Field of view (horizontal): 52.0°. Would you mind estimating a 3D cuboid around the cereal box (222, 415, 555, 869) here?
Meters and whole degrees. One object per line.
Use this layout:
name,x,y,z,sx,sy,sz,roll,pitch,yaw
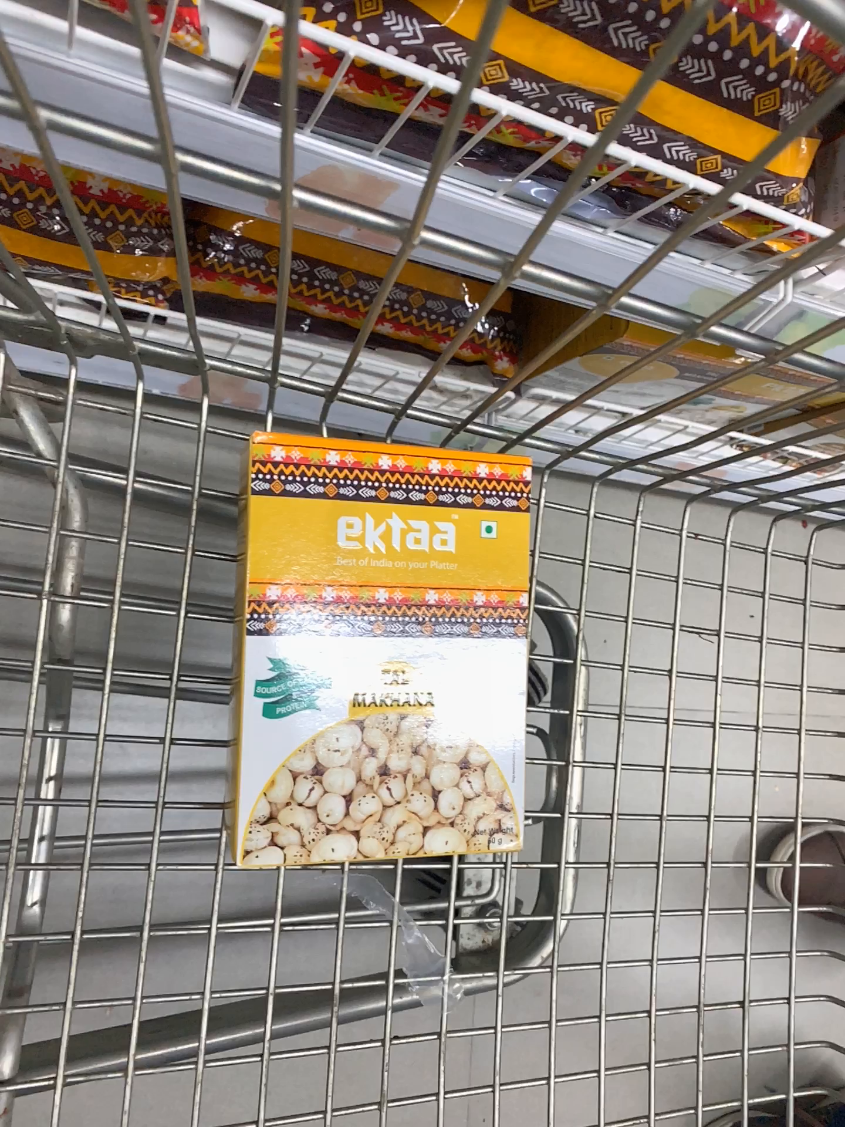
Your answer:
cereal box,-0.018,0.034,0.396,0.130,0.070,0.180,3,90,-17
